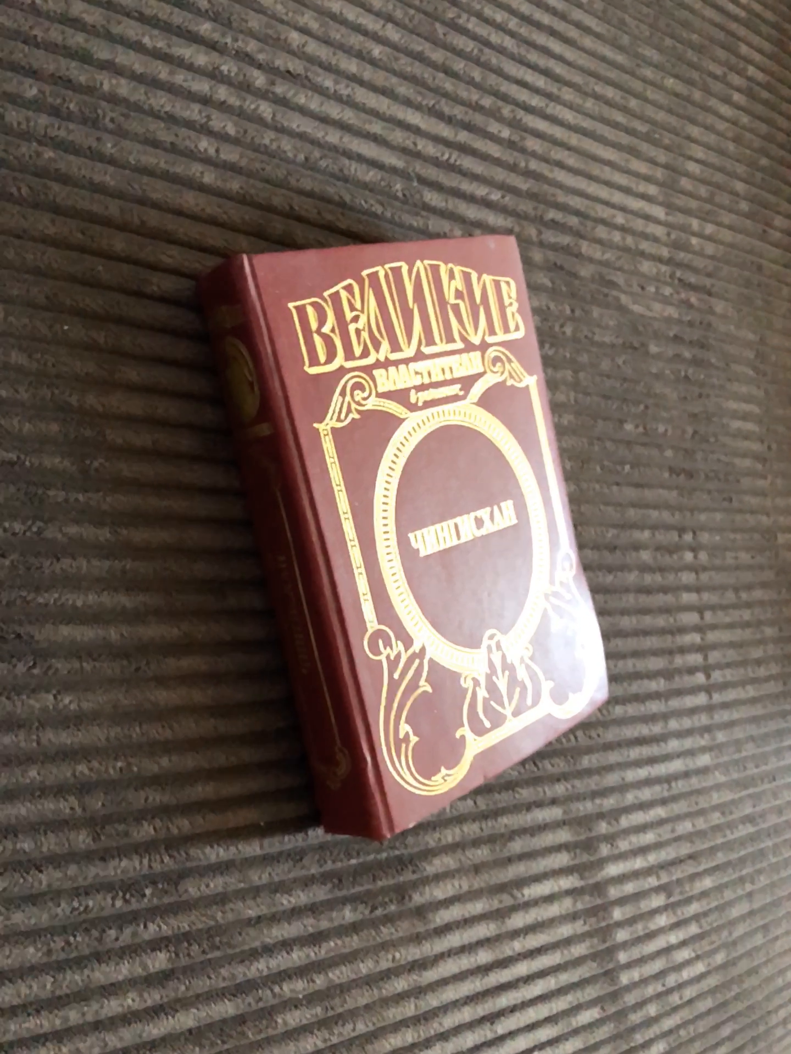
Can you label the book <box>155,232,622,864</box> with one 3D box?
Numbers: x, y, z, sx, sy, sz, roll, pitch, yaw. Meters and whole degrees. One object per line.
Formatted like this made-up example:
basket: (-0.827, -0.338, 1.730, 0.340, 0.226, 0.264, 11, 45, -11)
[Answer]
book: (0.006, -0.002, 0.340, 0.138, 0.050, 0.202, -18, 98, -37)
